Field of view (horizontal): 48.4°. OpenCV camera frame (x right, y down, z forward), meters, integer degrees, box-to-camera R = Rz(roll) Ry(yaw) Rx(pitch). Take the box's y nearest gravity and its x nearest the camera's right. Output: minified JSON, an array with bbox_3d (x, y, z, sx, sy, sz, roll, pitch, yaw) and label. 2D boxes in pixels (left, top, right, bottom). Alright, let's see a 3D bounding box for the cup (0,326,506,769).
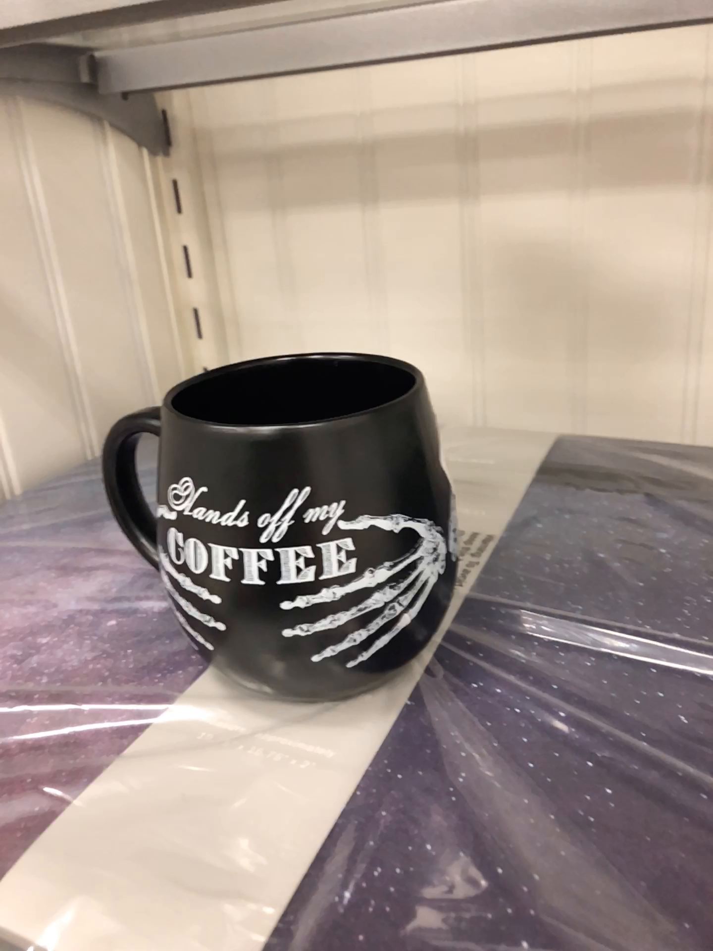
[{"bbox_3d":[-0.033,0.010,0.286,0.140,0.099,0.100,10,27,33],"label":"cup"}]
